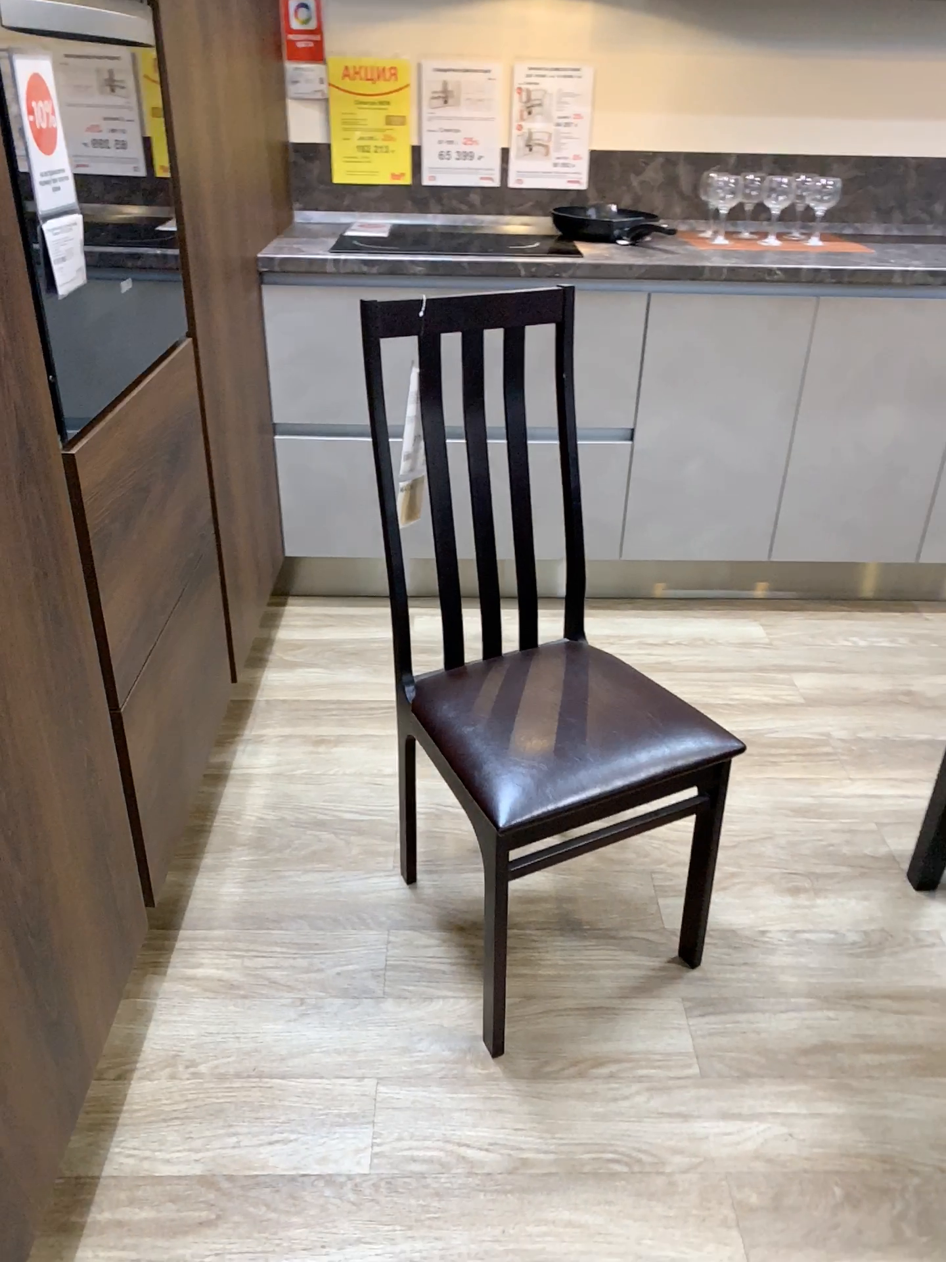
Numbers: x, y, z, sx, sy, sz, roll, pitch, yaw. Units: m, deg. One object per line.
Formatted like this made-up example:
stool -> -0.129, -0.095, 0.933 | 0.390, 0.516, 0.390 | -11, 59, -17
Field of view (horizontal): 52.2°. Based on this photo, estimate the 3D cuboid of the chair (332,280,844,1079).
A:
chair -> 0.109, 0.054, 1.470 | 0.431, 1.014, 0.522 | -14, 32, -25
